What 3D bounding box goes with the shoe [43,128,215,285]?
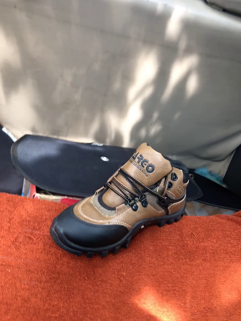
[{"bbox_3d":[0.024,0.052,0.456,0.110,0.149,0.271,35,34,32],"label":"shoe"}]
